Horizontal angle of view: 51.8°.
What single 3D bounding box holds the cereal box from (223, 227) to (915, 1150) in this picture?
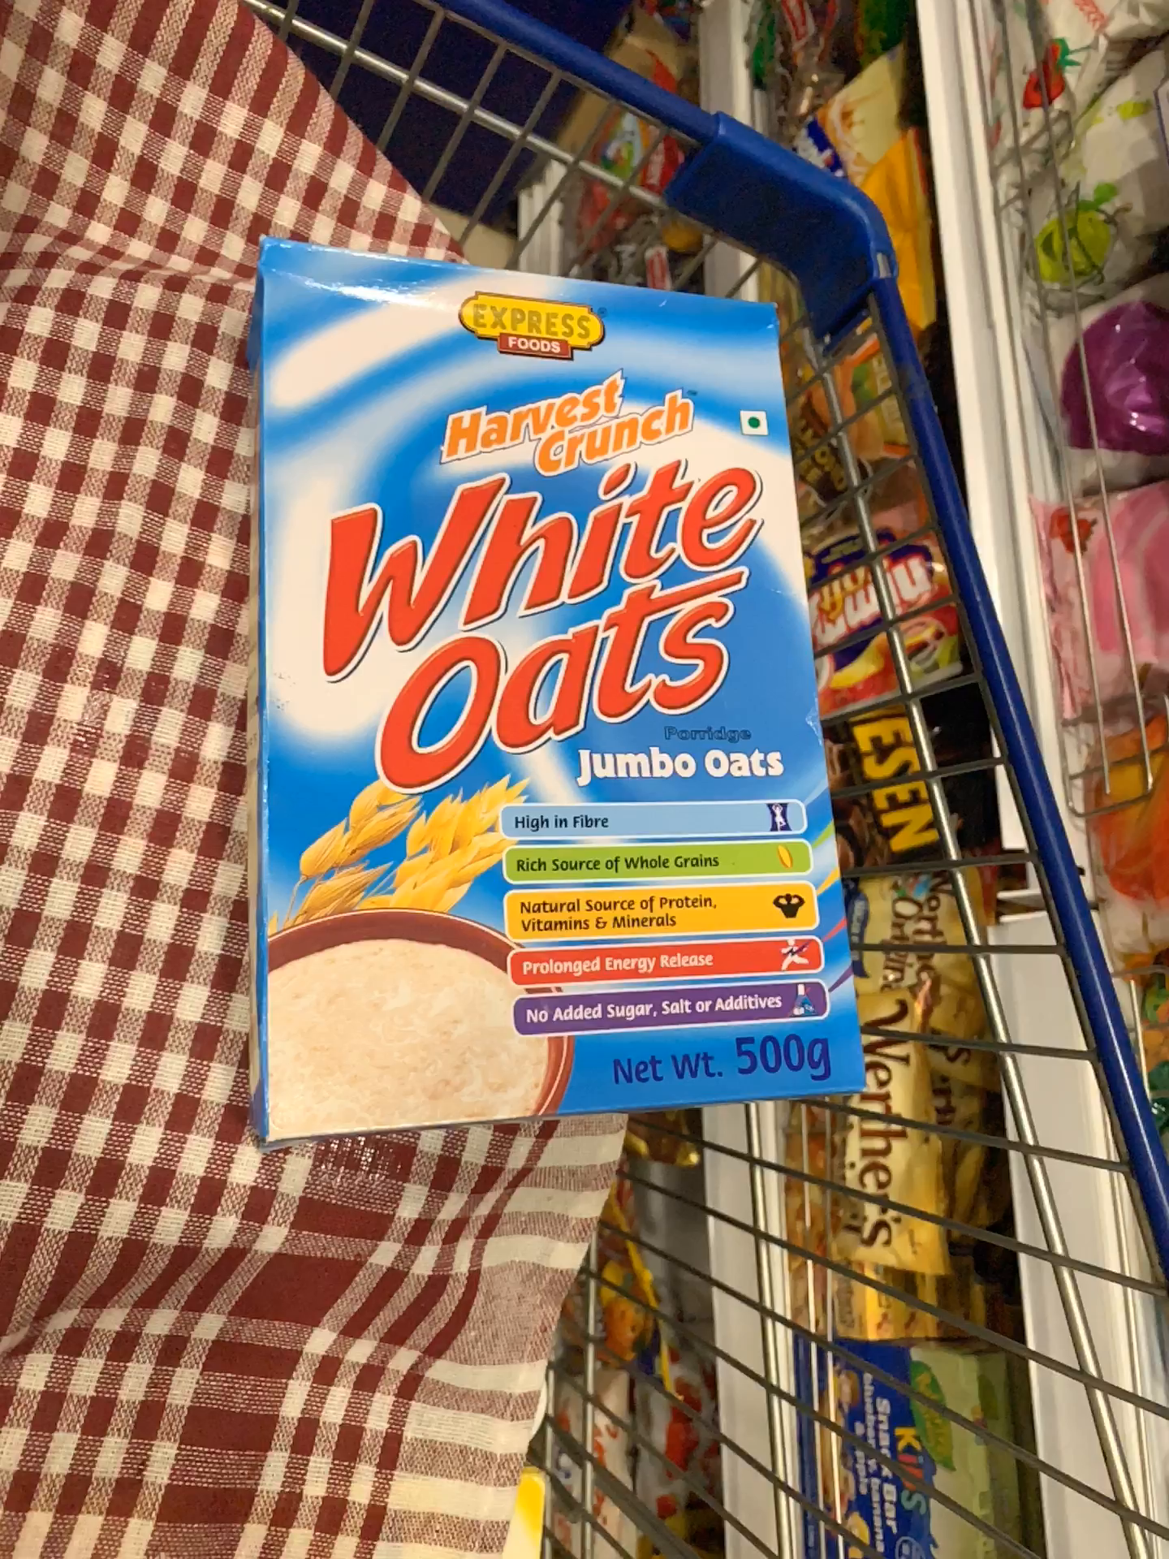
[{"bbox_3d":[-0.011,-0.020,0.302,0.150,0.060,0.200,1,77,-19],"label":"cereal box"}]
